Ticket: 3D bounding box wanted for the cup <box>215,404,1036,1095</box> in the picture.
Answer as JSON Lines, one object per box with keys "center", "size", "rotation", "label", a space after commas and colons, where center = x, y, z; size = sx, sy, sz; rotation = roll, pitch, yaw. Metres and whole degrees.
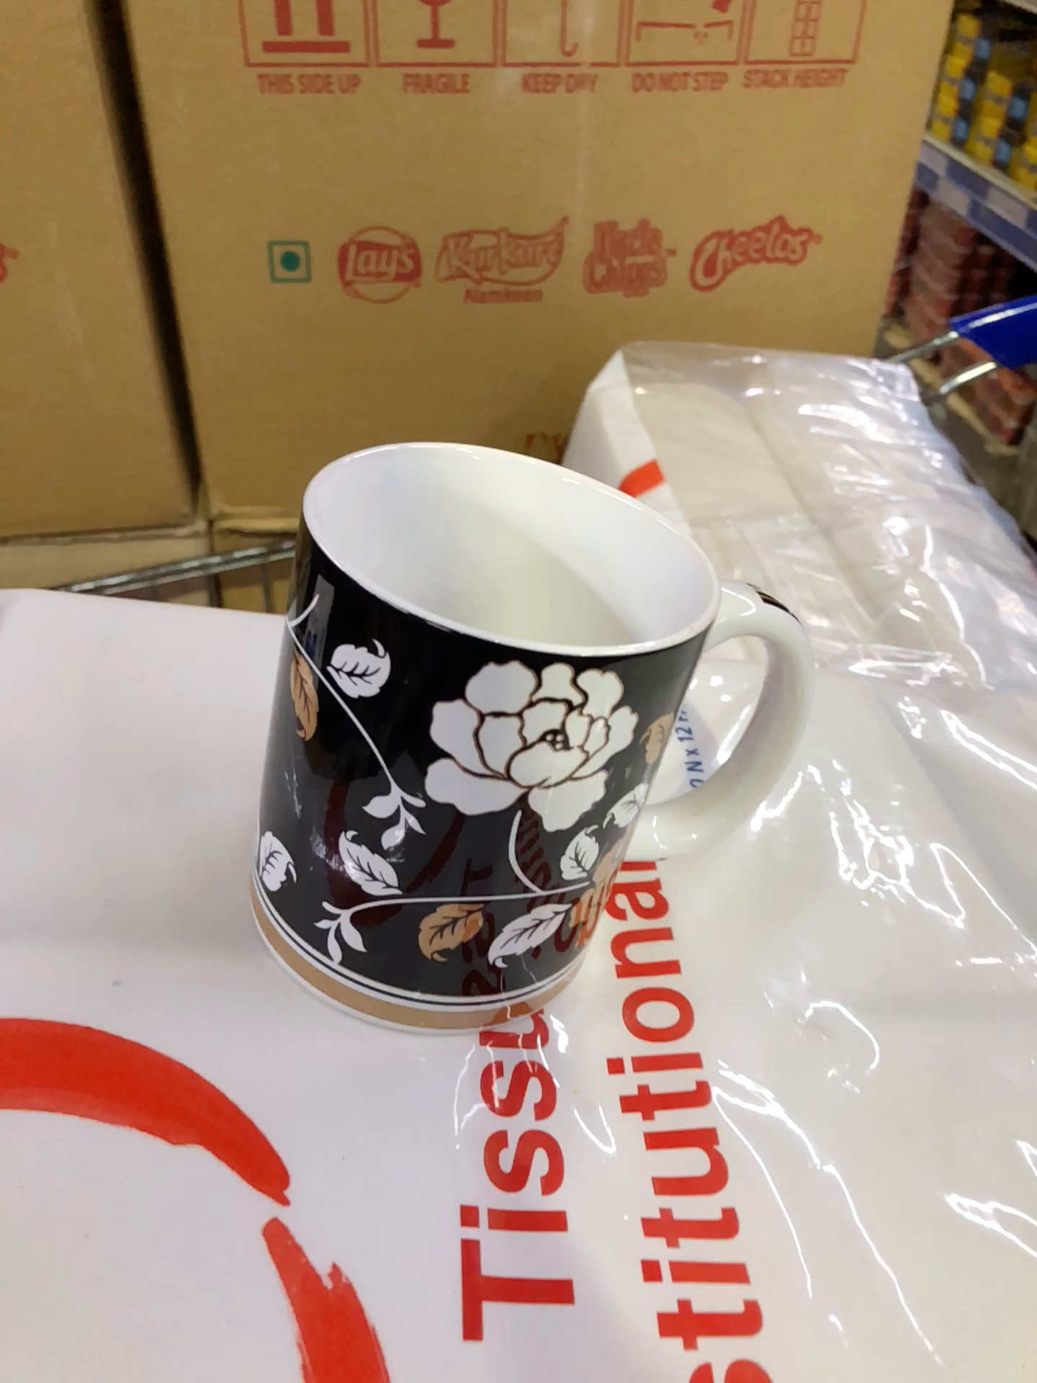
{"center": [0.014, 0.010, 0.243], "size": [0.130, 0.099, 0.080], "rotation": [-1, 38, -25], "label": "cup"}
